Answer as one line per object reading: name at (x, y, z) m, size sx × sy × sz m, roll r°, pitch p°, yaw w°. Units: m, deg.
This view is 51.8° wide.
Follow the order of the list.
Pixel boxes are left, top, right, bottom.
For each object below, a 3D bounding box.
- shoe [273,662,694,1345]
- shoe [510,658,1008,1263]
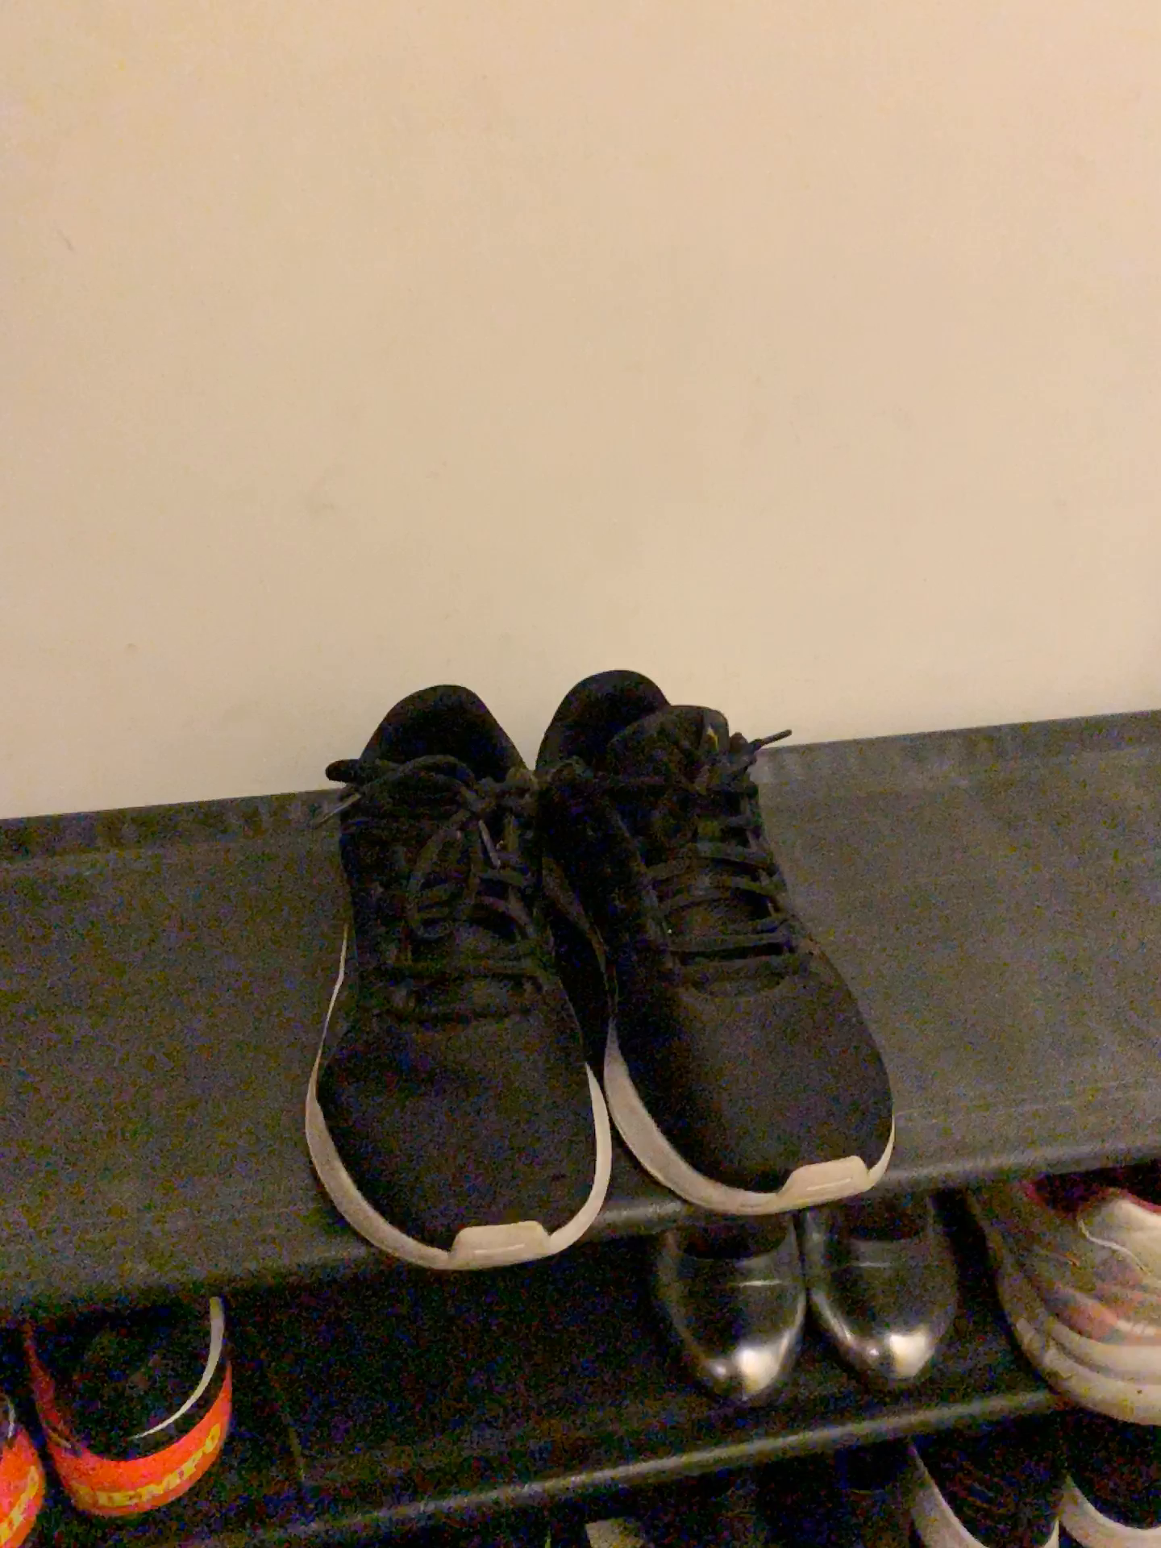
shoe at (-0.048, 0.059, 0.434) m, size 0.110 × 0.089 × 0.242 m, roll -6°, pitch 33°, yaw -10°
shoe at (0.047, 0.049, 0.474) m, size 0.110 × 0.069 × 0.262 m, roll -6°, pitch 33°, yaw -10°
